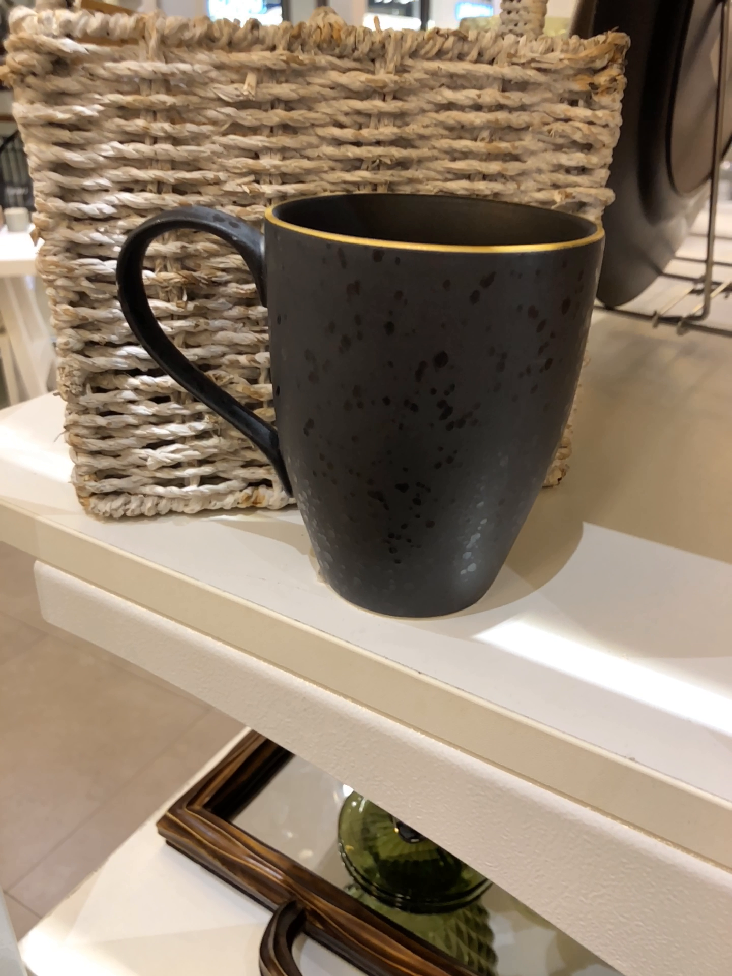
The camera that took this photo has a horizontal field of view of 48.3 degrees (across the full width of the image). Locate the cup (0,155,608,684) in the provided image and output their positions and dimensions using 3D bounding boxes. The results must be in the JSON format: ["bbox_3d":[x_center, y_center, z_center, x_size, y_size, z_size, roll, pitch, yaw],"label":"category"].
[{"bbox_3d":[-0.011,-0.029,0.215,0.120,0.099,0.081,11,28,21],"label":"cup"}]
